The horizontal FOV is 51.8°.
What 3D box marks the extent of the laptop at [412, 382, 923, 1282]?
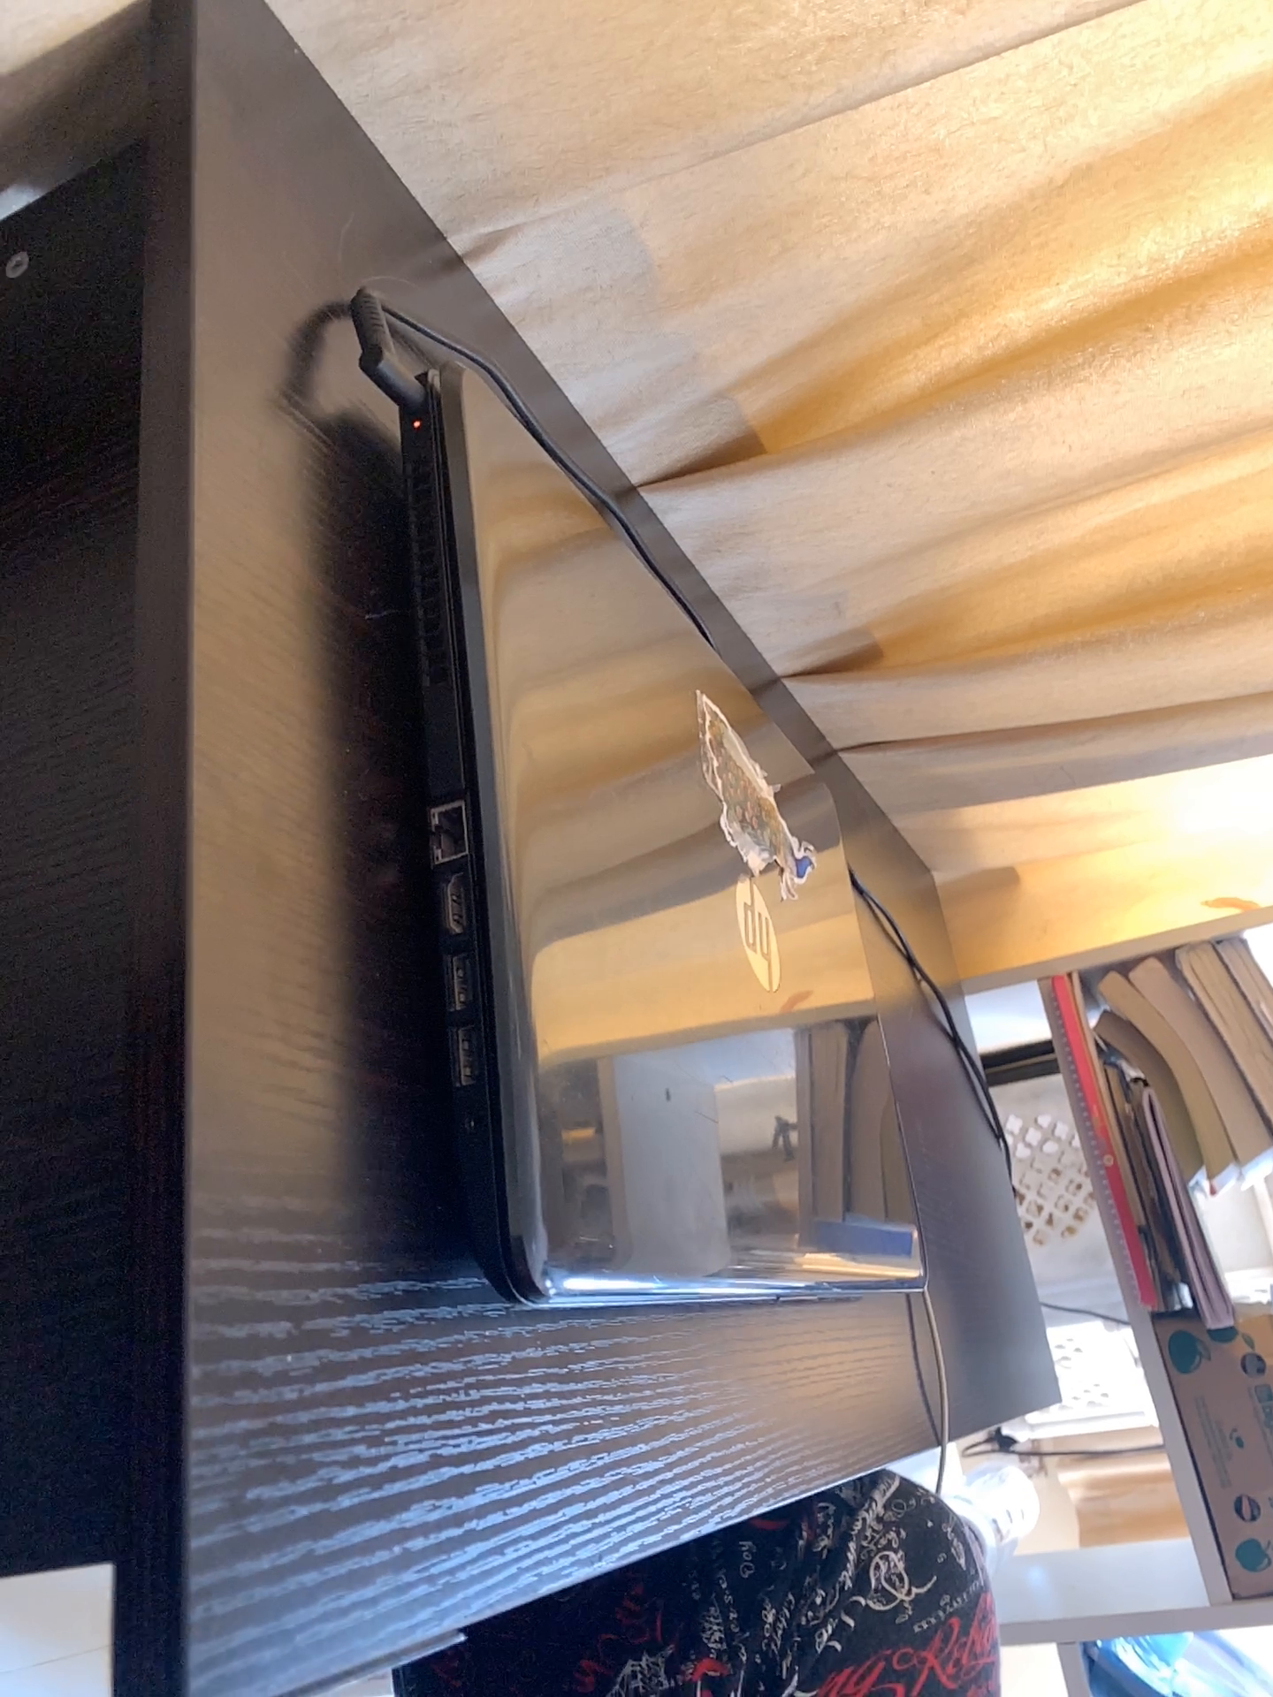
[{"bbox_3d":[0.035,0.035,0.483,0.375,0.006,0.237,33,45,-60],"label":"laptop"}]
